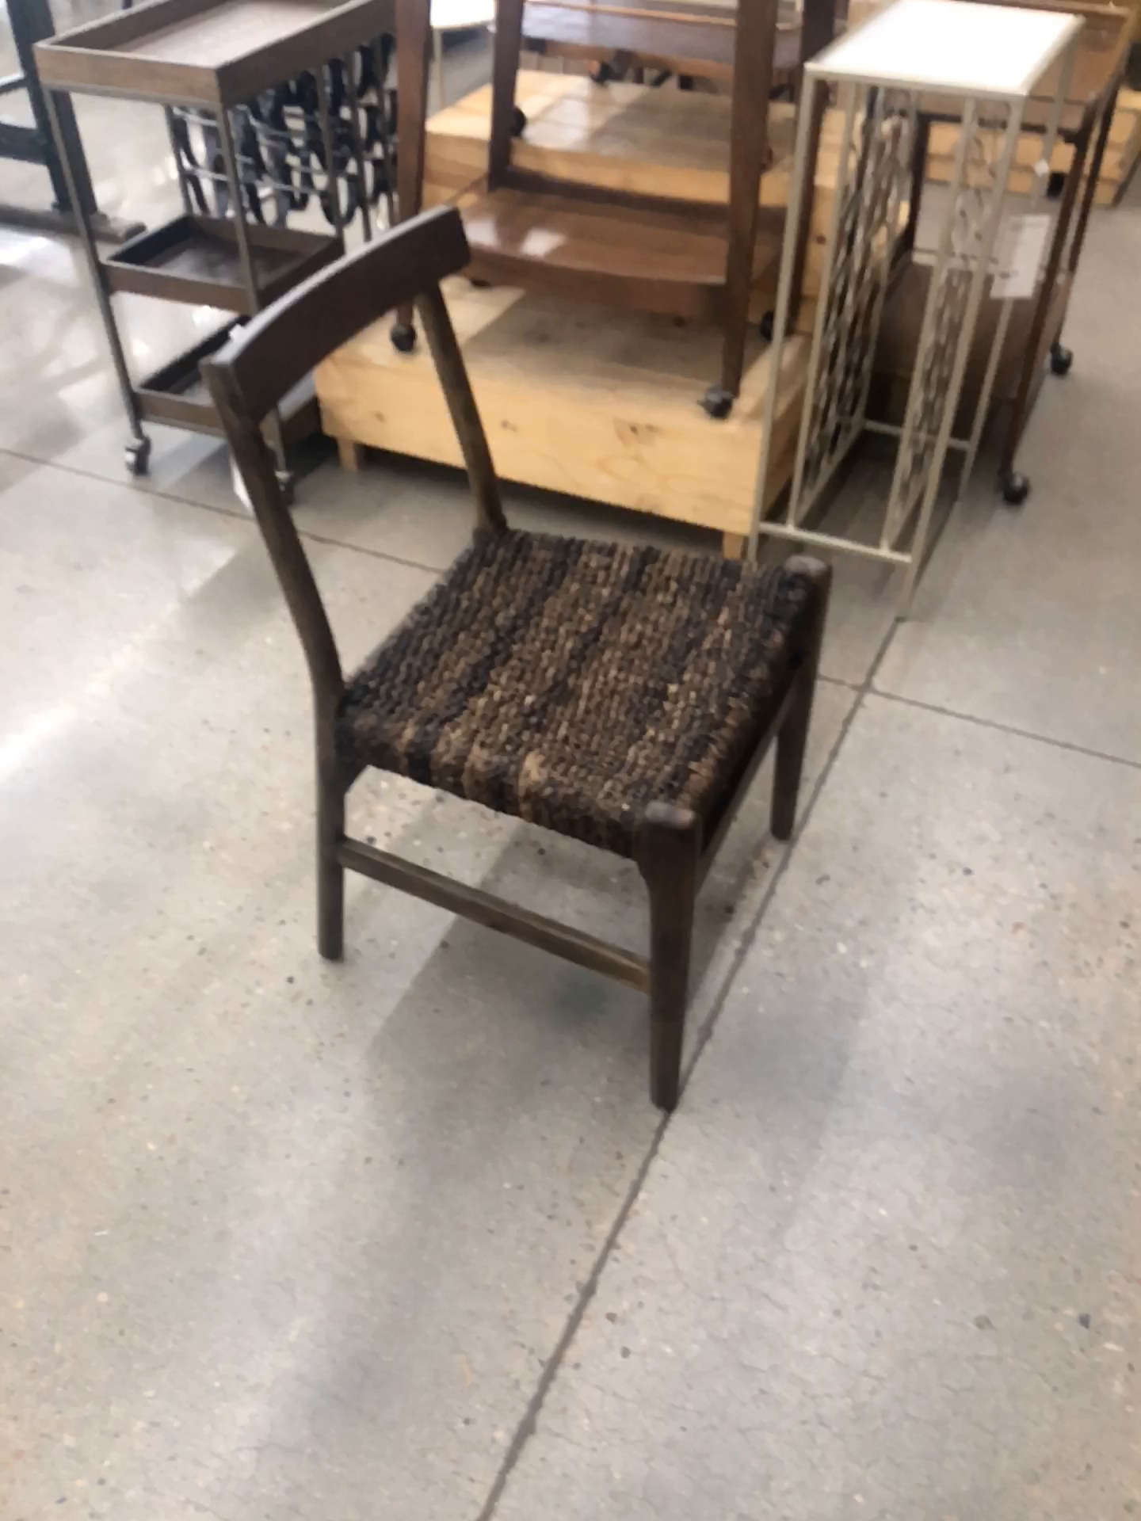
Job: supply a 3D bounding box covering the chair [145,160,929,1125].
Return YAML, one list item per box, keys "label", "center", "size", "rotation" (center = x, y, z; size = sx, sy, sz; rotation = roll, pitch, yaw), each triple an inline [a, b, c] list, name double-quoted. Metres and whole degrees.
- label: "chair"
  center: [0.000, -0.129, 1.423]
  size: [0.533, 0.816, 0.551]
  rotation: [17, 45, 17]
